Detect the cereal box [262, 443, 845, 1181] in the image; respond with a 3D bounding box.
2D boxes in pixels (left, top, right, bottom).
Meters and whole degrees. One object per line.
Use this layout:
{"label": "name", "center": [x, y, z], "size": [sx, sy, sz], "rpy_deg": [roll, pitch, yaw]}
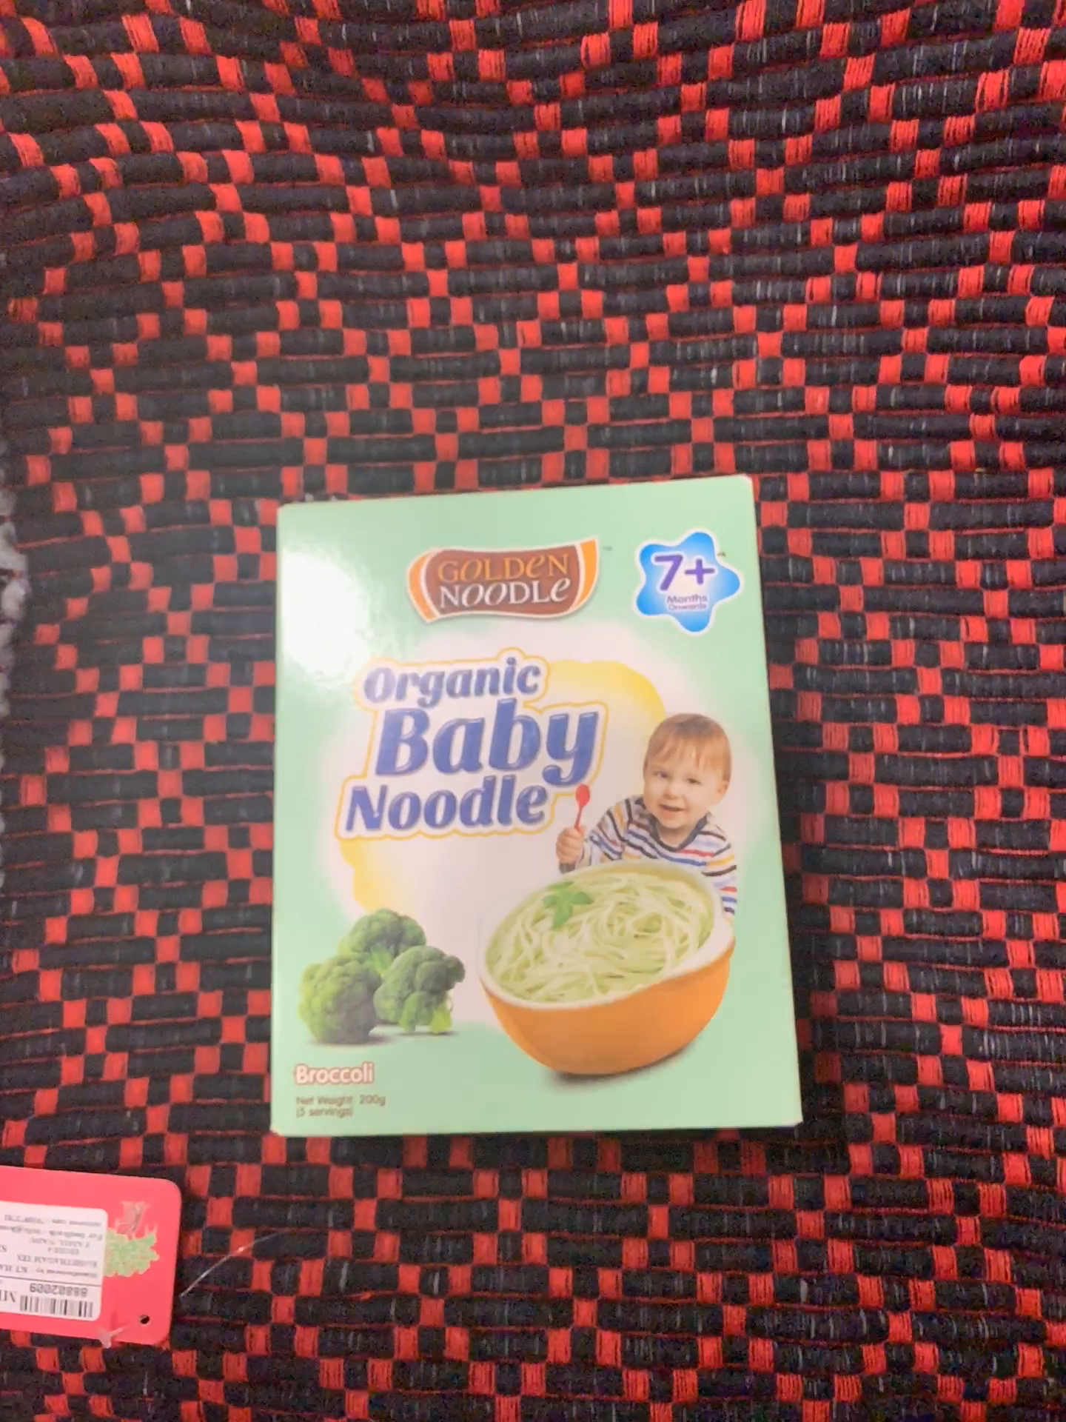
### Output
{"label": "cereal box", "center": [0.003, 0.026, 0.293], "size": [0.130, 0.060, 0.170], "rpy_deg": [-3, 79, 4]}
